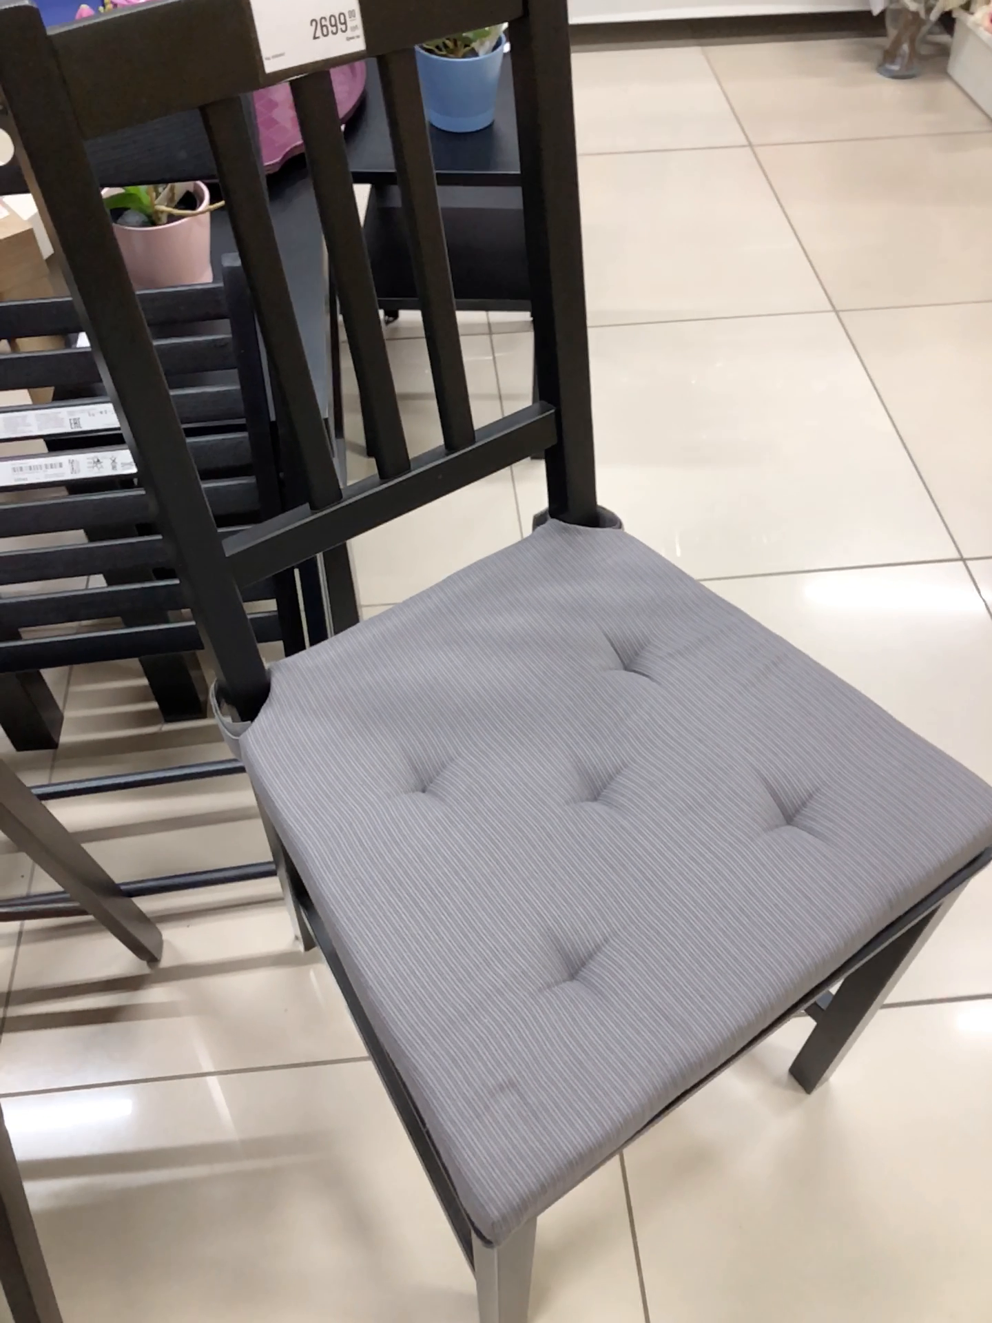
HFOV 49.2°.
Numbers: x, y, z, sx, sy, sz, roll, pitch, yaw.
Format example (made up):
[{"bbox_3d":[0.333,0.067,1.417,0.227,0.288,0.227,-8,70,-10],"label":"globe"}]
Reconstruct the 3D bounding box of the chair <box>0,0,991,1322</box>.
[{"bbox_3d":[0.037,0.072,0.759,0.411,0.894,0.492,-28,56,-21],"label":"chair"}]
